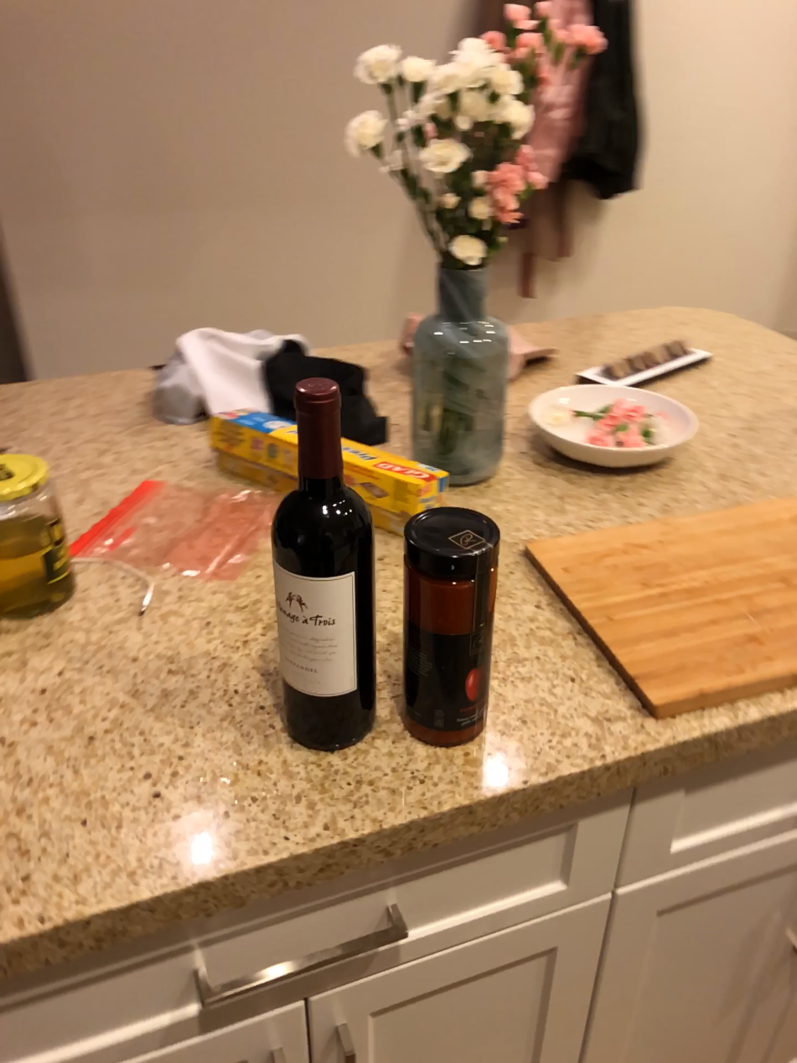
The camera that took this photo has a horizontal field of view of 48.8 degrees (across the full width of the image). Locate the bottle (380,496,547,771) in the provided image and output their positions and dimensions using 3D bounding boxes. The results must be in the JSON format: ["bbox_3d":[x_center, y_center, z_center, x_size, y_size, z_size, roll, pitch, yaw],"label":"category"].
[{"bbox_3d":[0.047,0.080,0.703,0.090,0.179,0.090,0,30,0],"label":"bottle"}]

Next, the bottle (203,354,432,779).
[{"bbox_3d":[-0.055,0.027,0.661,0.110,0.278,0.110,0,30,0],"label":"bottle"}]
